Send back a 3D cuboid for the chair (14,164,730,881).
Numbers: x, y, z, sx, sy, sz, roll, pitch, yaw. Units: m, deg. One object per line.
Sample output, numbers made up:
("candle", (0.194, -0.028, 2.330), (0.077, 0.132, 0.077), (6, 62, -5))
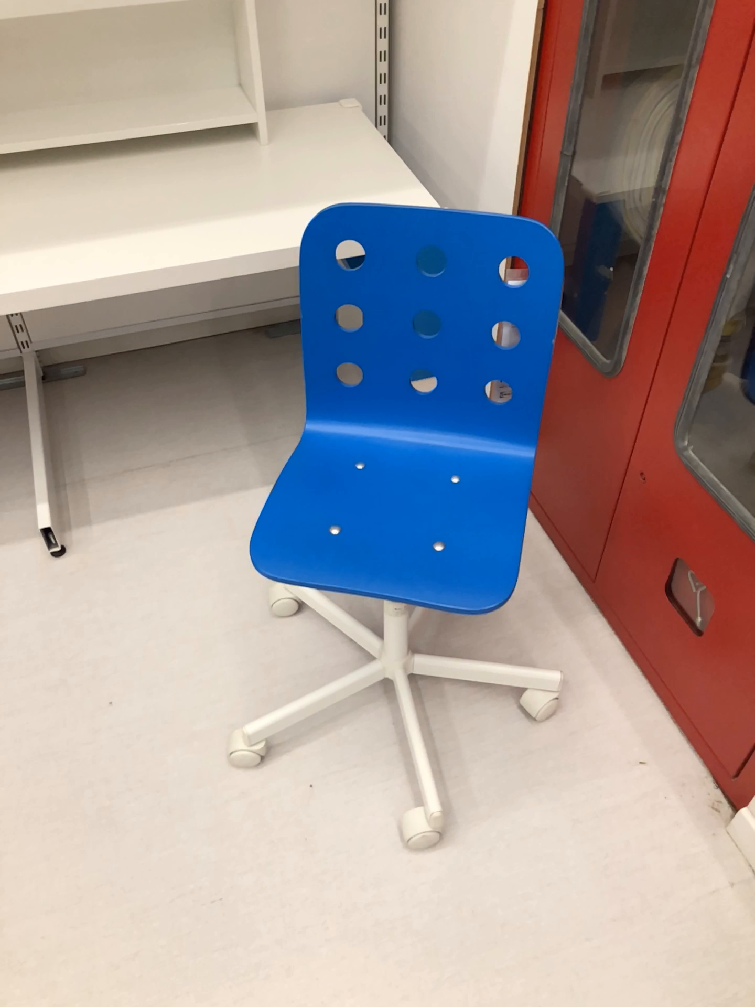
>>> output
("chair", (0.027, 0.039, 1.037), (0.550, 0.686, 0.493), (8, 46, 8))
